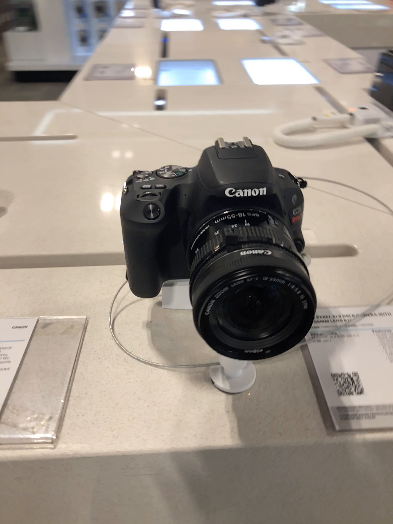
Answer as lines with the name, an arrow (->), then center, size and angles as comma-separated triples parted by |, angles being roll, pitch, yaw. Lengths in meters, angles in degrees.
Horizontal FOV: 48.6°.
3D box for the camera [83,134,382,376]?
camera -> 0.012, -0.016, 0.270 | 0.130, 0.070, 0.151 | -3, 36, -2
